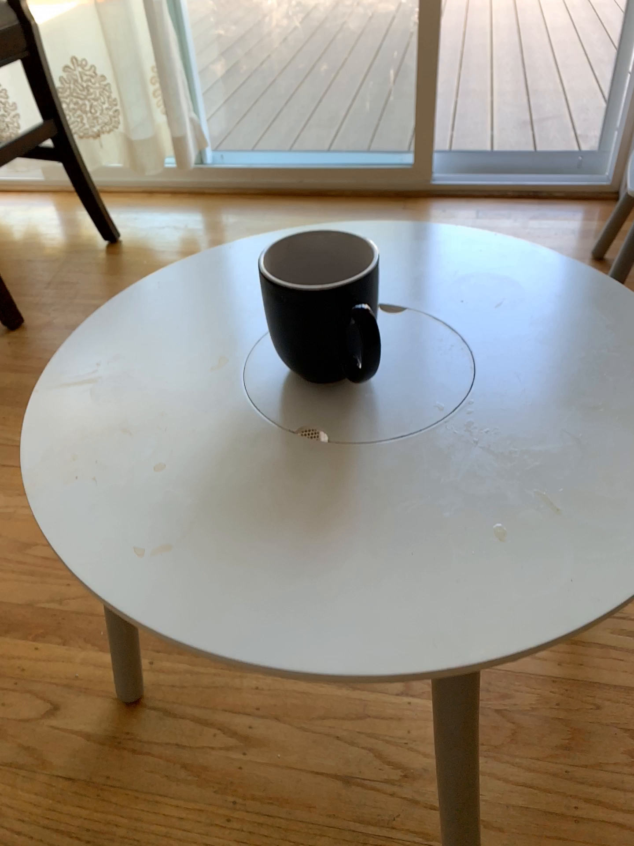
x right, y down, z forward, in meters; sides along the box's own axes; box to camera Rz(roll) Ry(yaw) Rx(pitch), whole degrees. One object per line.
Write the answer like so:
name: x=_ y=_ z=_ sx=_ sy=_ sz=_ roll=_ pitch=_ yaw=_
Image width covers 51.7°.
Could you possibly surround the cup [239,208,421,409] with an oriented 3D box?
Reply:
cup: x=0.008 y=-0.101 z=0.550 sx=0.100 sy=0.090 sz=0.141 roll=-17 pitch=43 yaw=-13
